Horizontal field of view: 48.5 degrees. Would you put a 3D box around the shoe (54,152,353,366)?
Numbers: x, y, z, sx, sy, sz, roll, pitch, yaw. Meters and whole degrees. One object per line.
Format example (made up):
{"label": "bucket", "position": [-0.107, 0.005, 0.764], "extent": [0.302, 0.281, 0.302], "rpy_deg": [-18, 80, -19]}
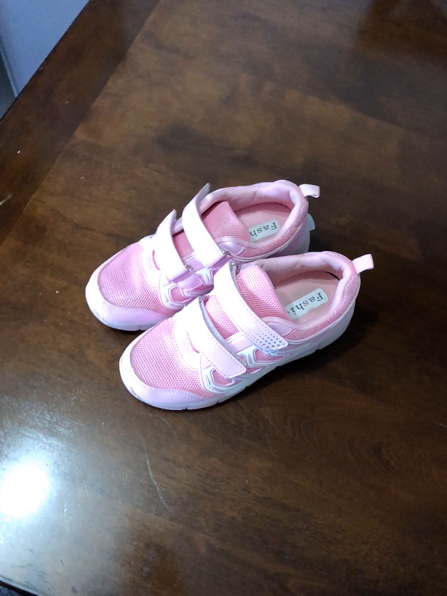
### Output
{"label": "shoe", "position": [-0.019, -0.039, 0.495], "extent": [0.250, 0.110, 0.100], "rpy_deg": [-20, 70, -16]}

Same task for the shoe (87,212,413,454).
{"label": "shoe", "position": [0.022, 0.032, 0.473], "extent": [0.260, 0.110, 0.110], "rpy_deg": [-22, 70, -16]}
